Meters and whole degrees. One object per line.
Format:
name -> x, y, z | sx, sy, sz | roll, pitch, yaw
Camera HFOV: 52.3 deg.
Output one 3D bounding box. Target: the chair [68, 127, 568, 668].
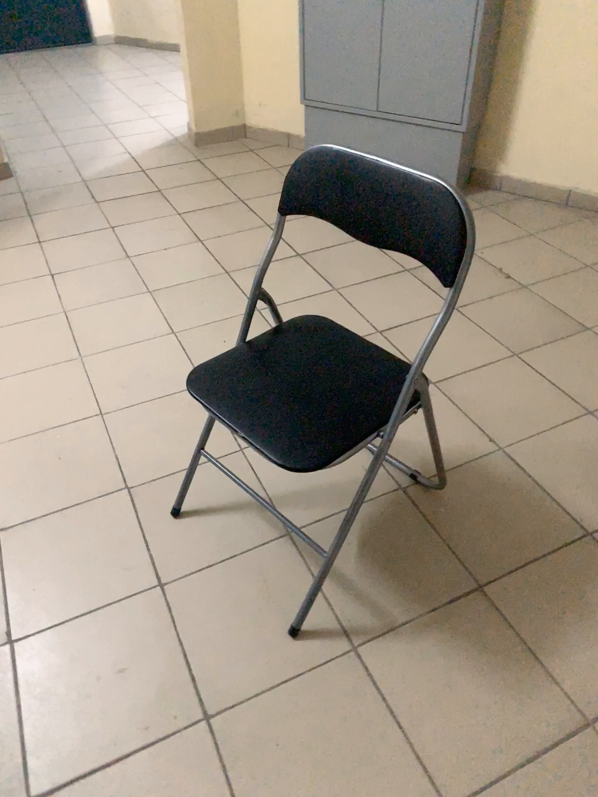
chair -> 0.029, -0.036, 1.205 | 0.561, 0.726, 0.572 | -31, 48, -31
